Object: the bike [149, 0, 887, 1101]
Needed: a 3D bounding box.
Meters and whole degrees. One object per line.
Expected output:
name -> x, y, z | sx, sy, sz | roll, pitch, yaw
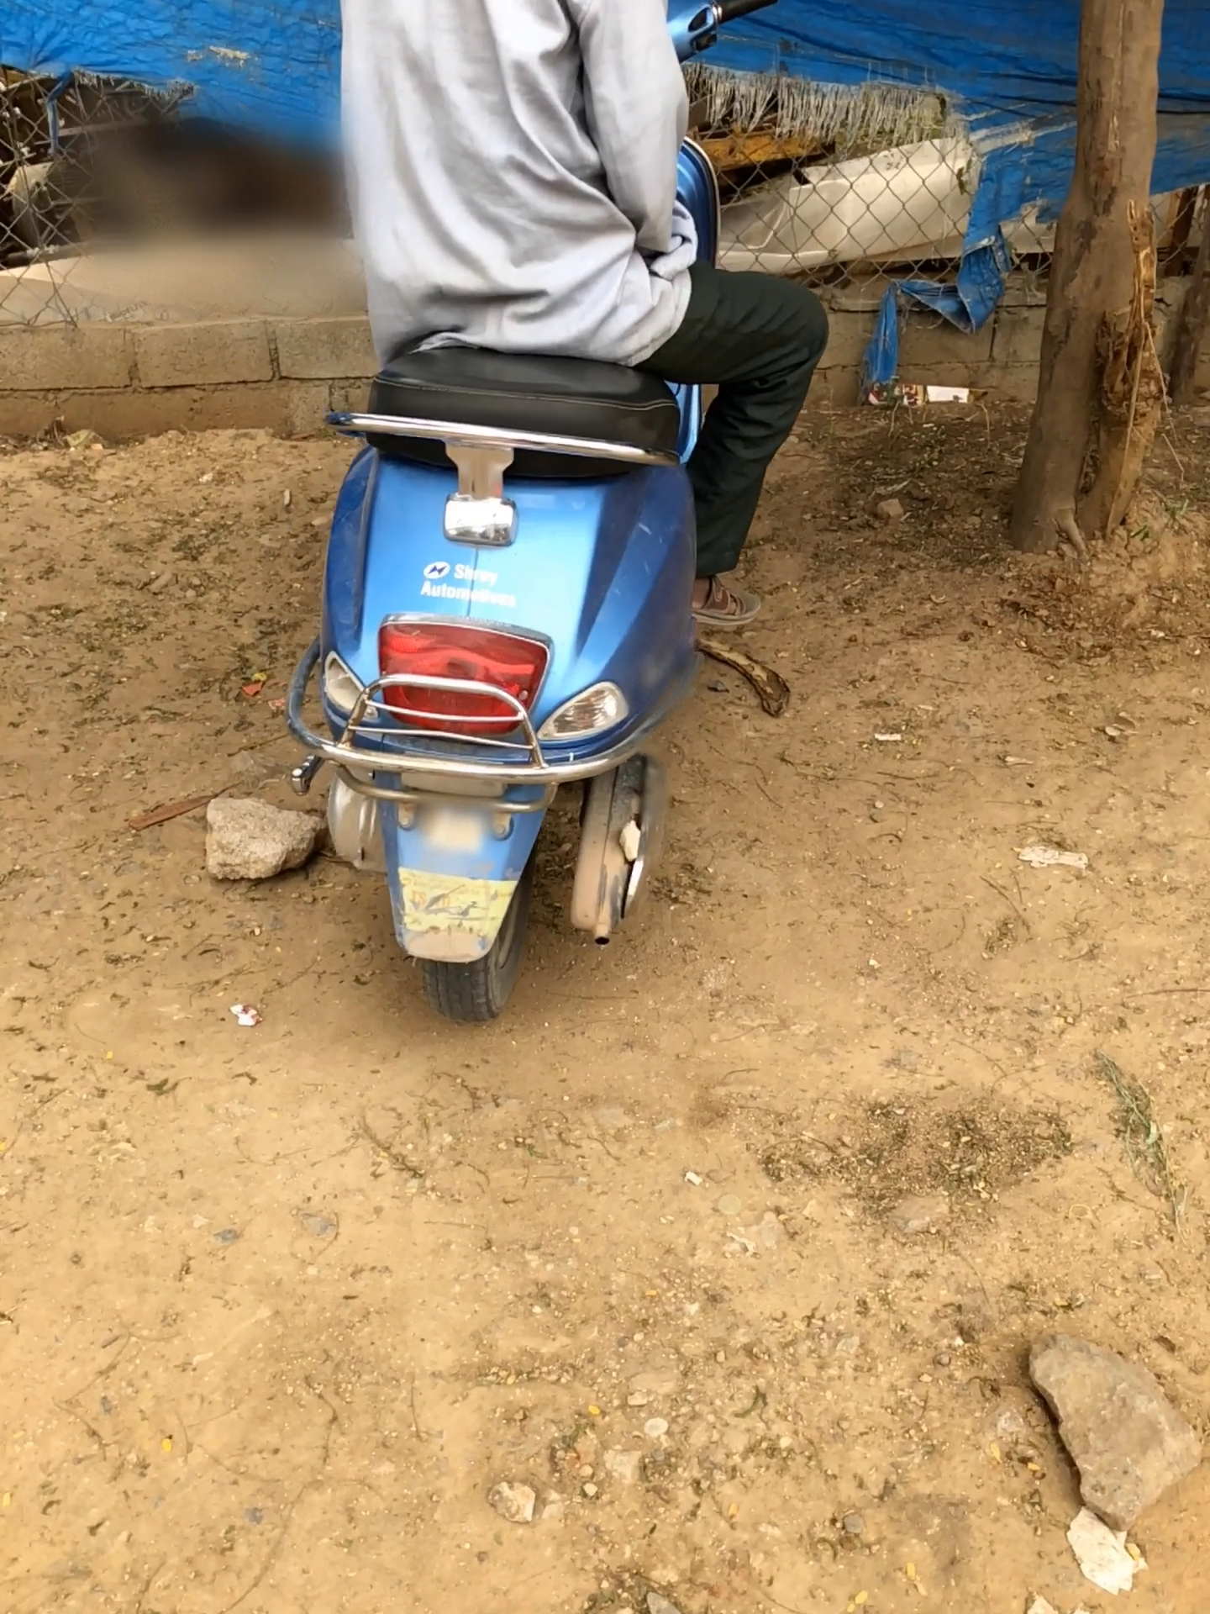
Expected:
bike -> -0.125, -0.681, 2.056 | 0.632, 1.253, 1.576 | 0, 35, -1
